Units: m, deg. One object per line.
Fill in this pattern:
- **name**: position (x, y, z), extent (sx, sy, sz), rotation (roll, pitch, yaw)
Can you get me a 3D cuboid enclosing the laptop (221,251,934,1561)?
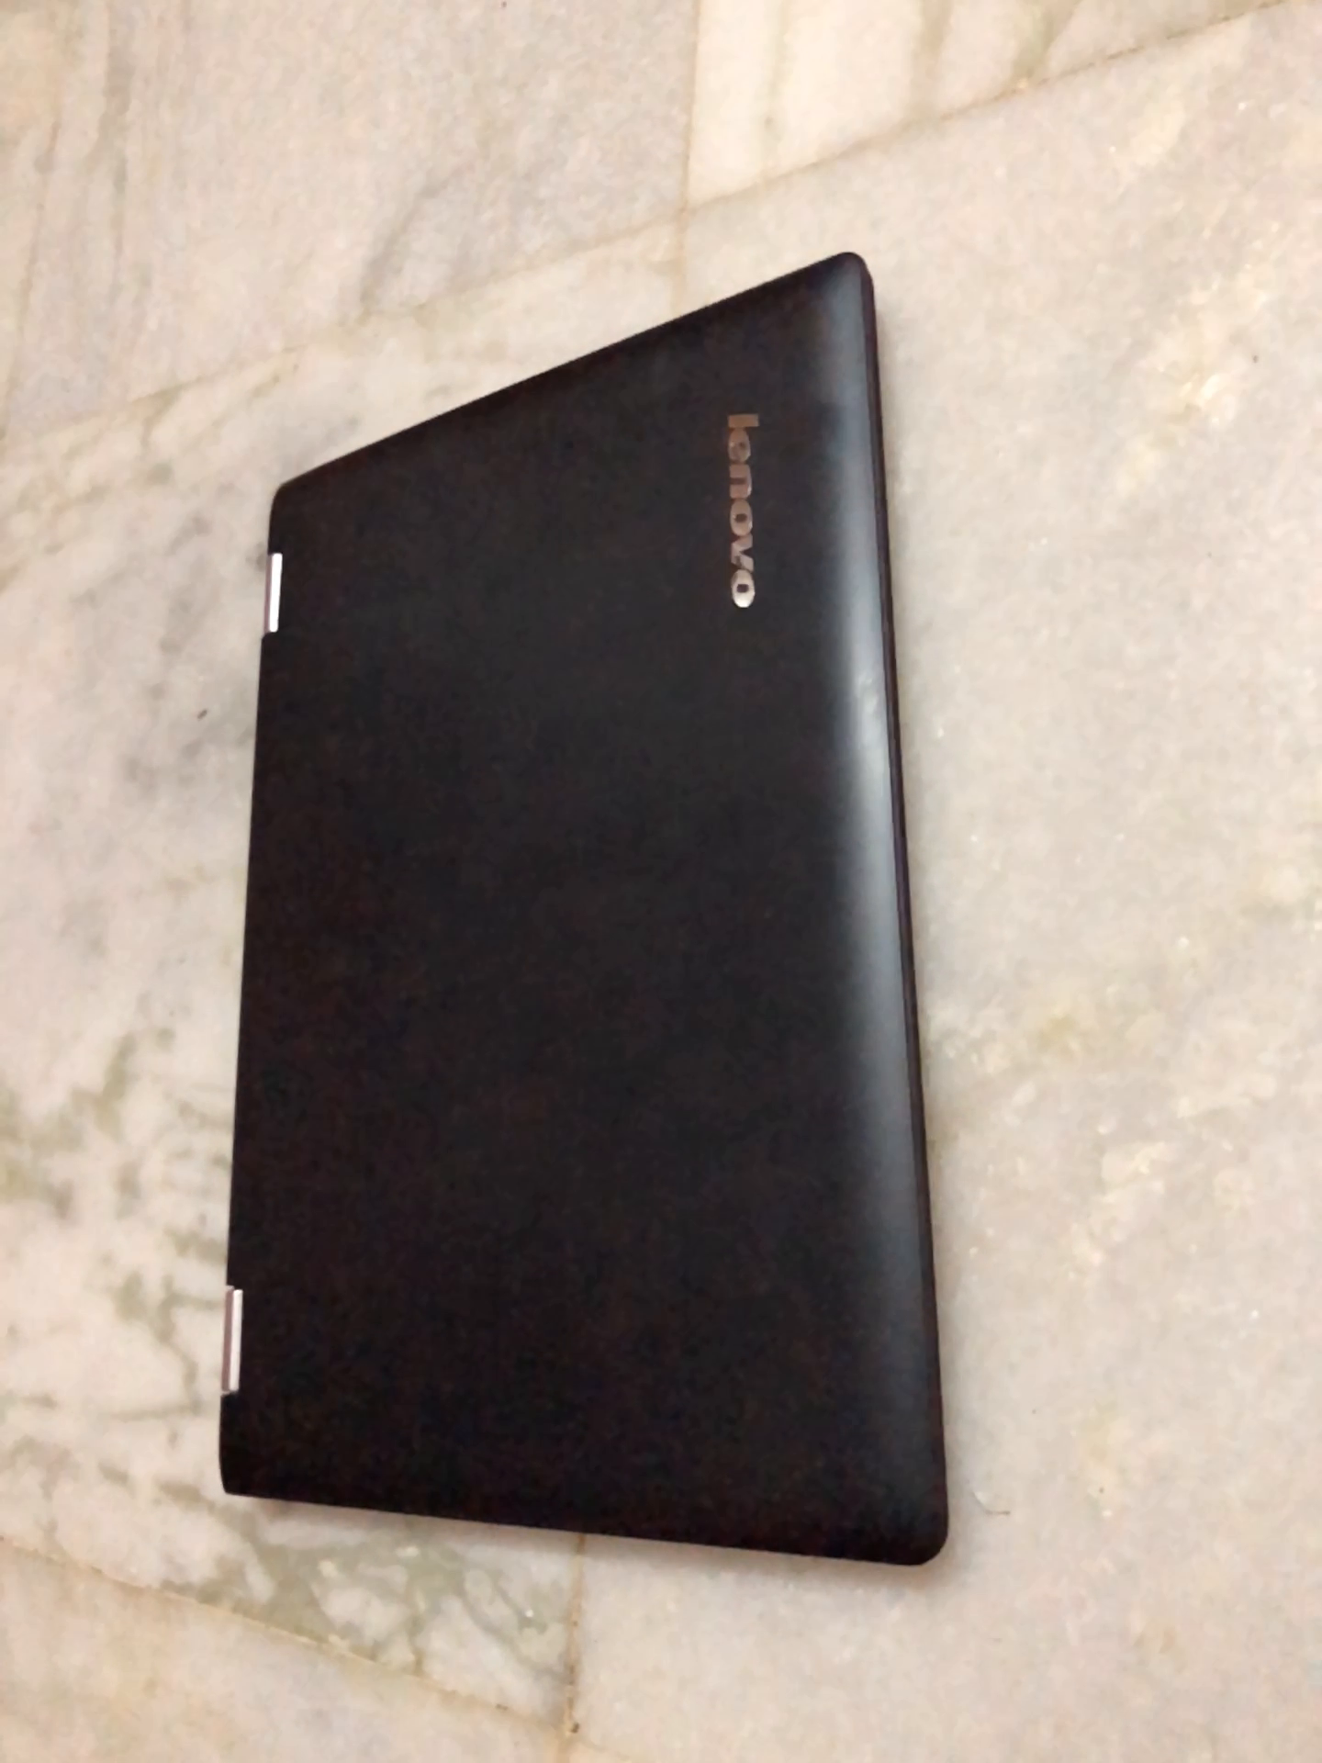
- **laptop**: position (-0.037, 0.004, 0.415), extent (0.223, 0.002, 0.328), rotation (-10, 72, 31)
